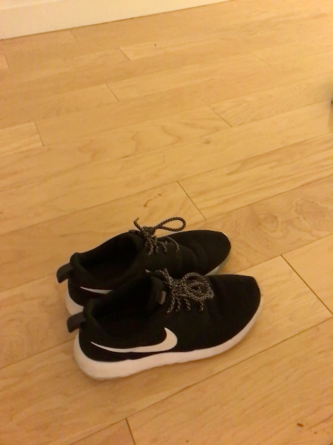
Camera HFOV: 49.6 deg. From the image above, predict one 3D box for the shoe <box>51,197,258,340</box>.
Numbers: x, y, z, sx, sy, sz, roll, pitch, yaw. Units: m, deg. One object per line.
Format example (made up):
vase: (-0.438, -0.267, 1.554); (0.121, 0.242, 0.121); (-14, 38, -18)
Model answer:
shoe: (-0.021, 0.060, 0.542); (0.270, 0.069, 0.131); (-14, 47, -11)

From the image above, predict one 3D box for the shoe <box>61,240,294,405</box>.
shoe: (0.011, 0.123, 0.481); (0.270, 0.069, 0.121); (-14, 47, -11)
